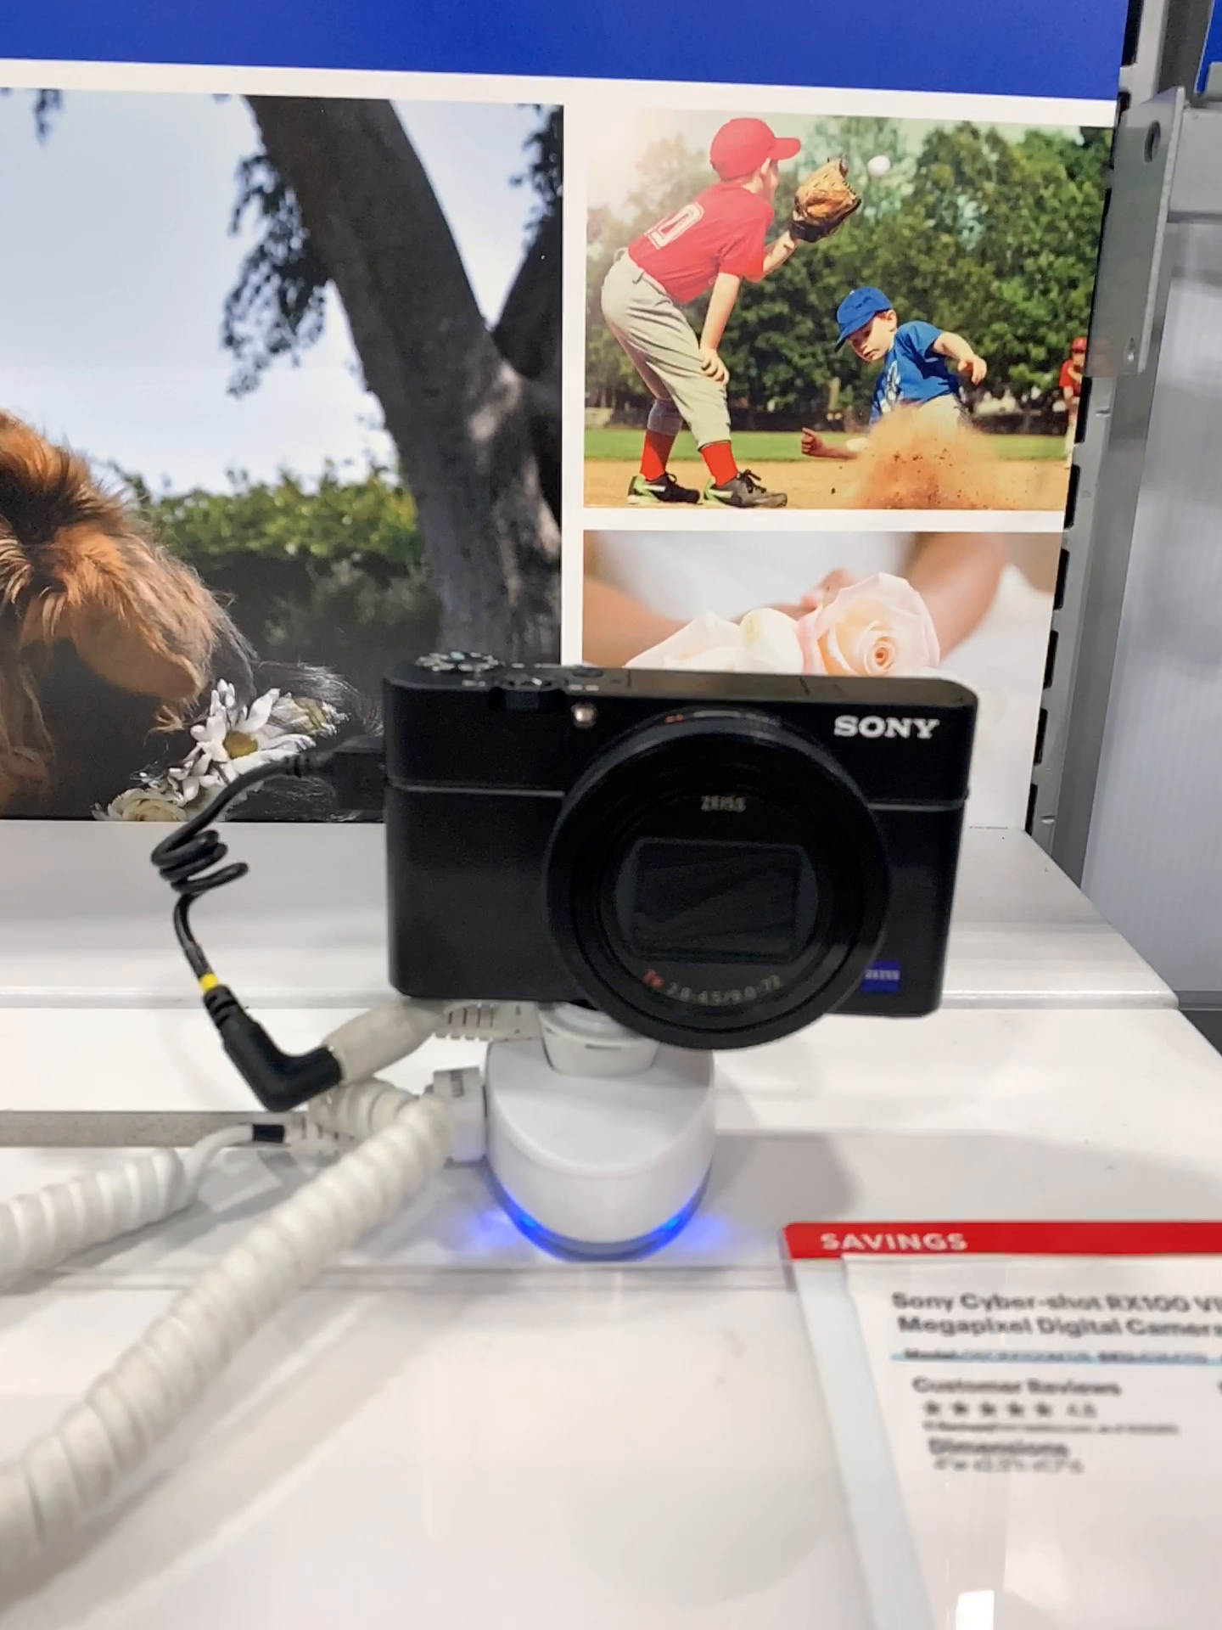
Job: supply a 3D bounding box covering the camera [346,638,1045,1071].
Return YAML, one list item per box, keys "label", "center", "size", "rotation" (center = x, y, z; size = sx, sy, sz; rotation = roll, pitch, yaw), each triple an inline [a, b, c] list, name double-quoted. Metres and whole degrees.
- label: "camera"
  center: [0.012, 0.005, 0.218]
  size: [0.105, 0.060, 0.043]
  rotation: [2, 17, 0]
